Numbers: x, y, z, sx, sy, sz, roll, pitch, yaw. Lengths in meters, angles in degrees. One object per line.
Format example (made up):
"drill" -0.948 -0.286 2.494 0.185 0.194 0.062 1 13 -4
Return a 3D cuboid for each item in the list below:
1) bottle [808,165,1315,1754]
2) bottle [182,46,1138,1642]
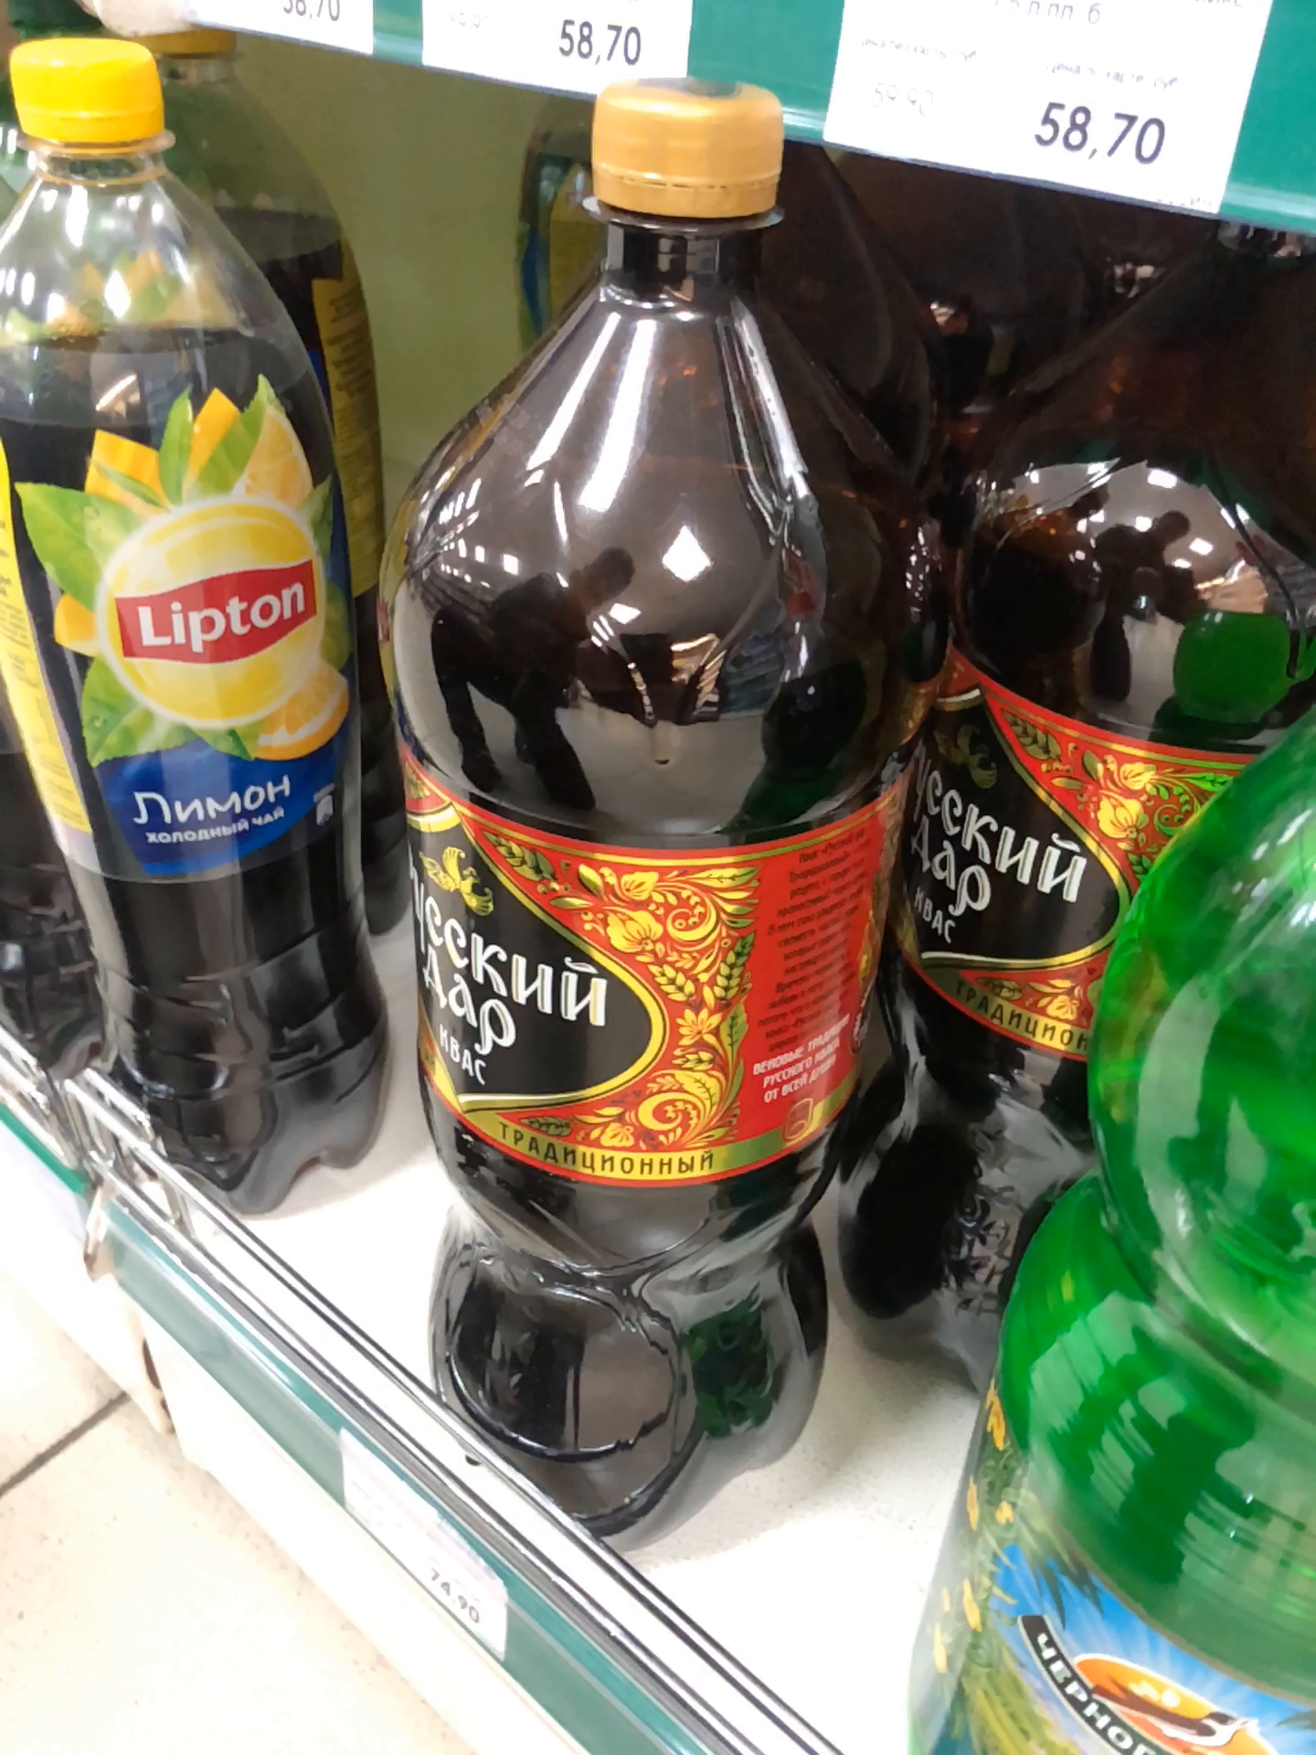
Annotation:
"bottle" 0.103 0.076 0.237 0.085 0.327 0.099 -29 46 -35
"bottle" -0.004 0.011 0.321 0.100 0.322 0.110 1 36 -1
